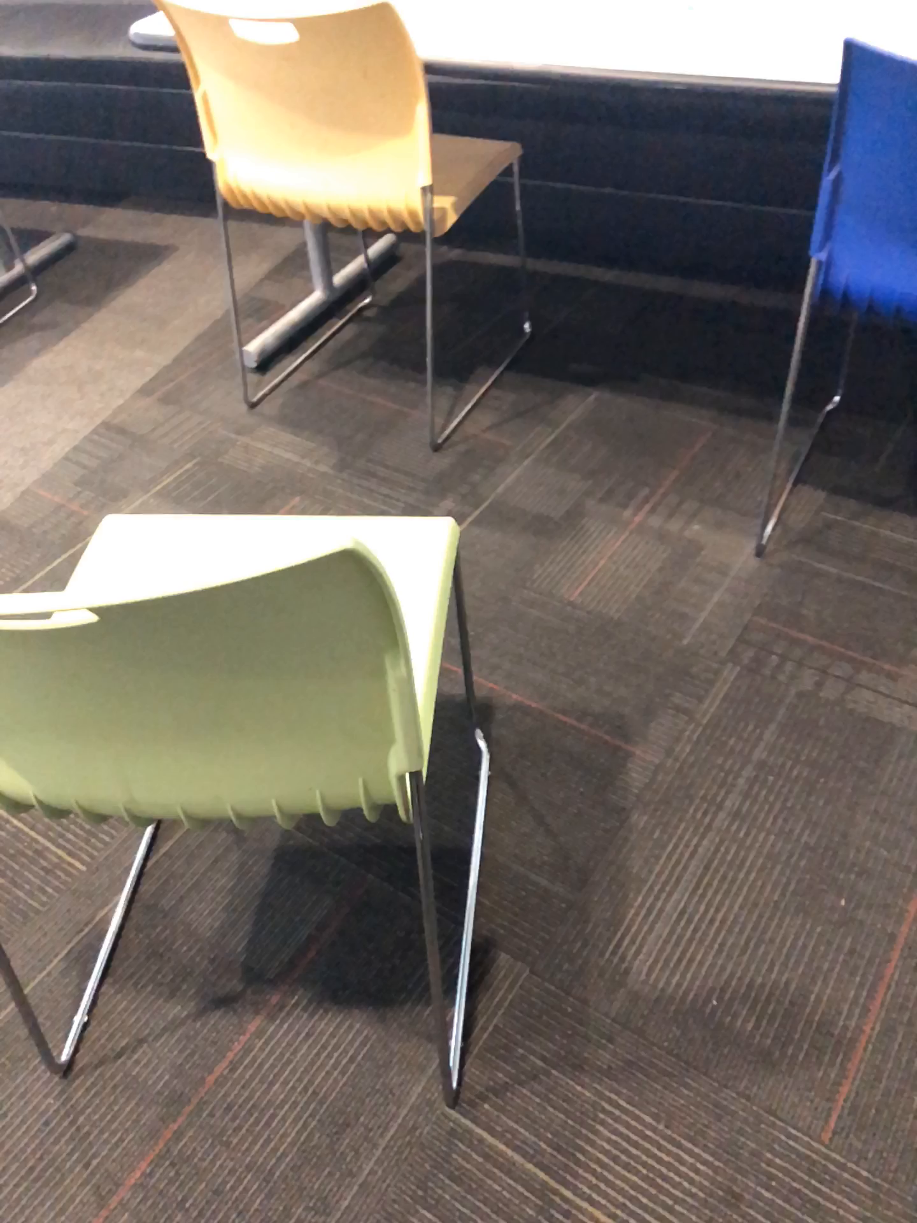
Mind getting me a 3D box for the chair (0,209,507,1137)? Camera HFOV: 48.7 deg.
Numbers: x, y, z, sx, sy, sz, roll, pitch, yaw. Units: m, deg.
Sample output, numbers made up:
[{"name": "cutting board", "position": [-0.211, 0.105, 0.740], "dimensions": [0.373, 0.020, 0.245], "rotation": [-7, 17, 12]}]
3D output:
[{"name": "chair", "position": [-0.256, 0.083, 1.036], "dimensions": [0.540, 0.756, 0.542], "rotation": [1, 43, 8]}]
